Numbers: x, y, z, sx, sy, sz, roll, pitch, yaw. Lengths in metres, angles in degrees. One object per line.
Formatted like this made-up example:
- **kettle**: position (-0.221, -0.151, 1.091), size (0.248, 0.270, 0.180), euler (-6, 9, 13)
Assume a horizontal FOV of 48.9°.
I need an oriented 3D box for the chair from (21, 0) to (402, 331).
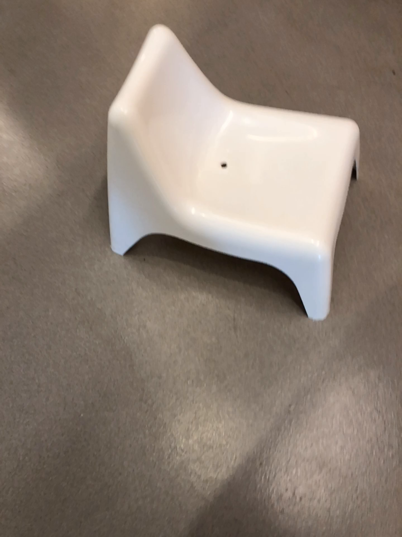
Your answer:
- **chair**: position (0.073, -0.240, 1.068), size (0.690, 0.400, 0.530), euler (13, 68, 10)
